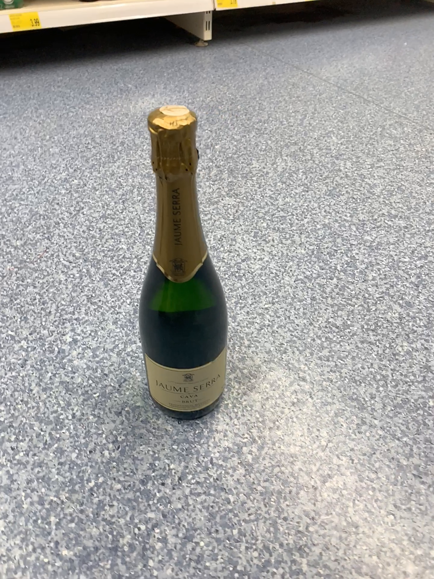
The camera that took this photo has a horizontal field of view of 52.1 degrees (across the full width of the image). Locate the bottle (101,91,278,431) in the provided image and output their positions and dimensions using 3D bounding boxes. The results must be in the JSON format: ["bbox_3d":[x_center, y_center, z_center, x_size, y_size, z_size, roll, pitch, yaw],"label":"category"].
[{"bbox_3d":[-0.025,-0.005,0.395,0.104,0.291,0.106,1,42,-1],"label":"bottle"}]
